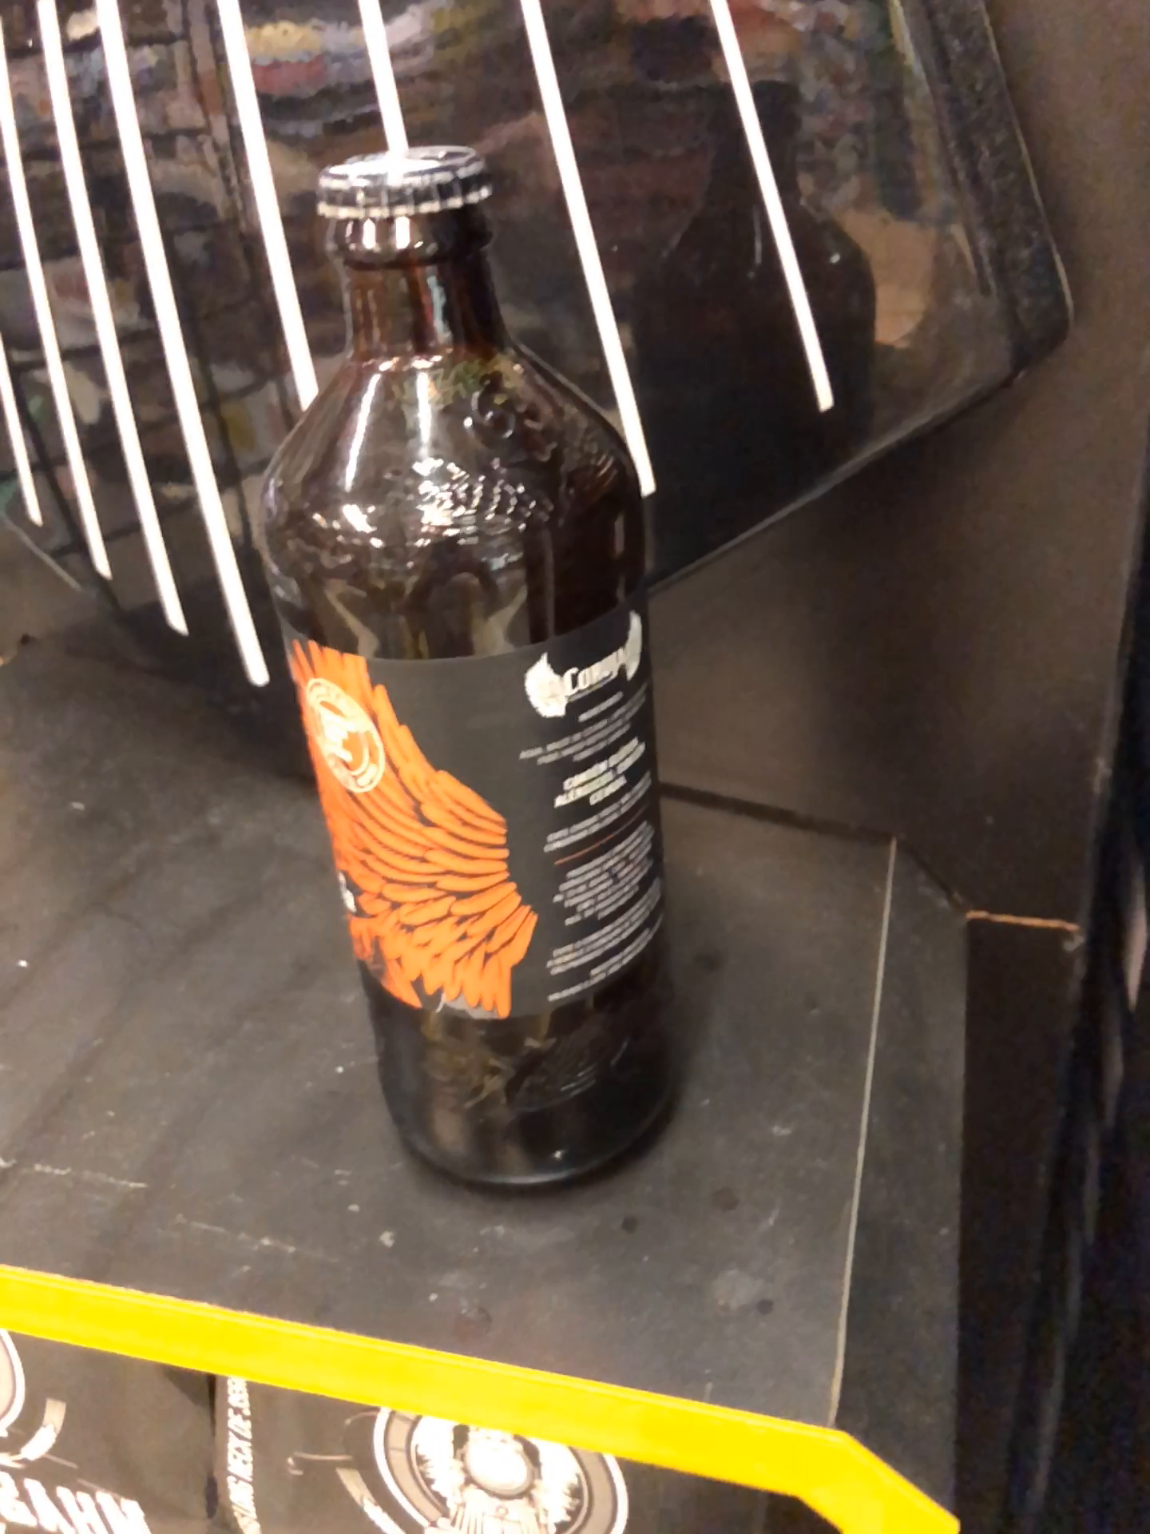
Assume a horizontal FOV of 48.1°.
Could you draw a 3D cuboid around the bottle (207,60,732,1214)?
[{"bbox_3d":[-0.013,-0.017,0.265,0.070,0.218,0.071,-4,31,2],"label":"bottle"}]
